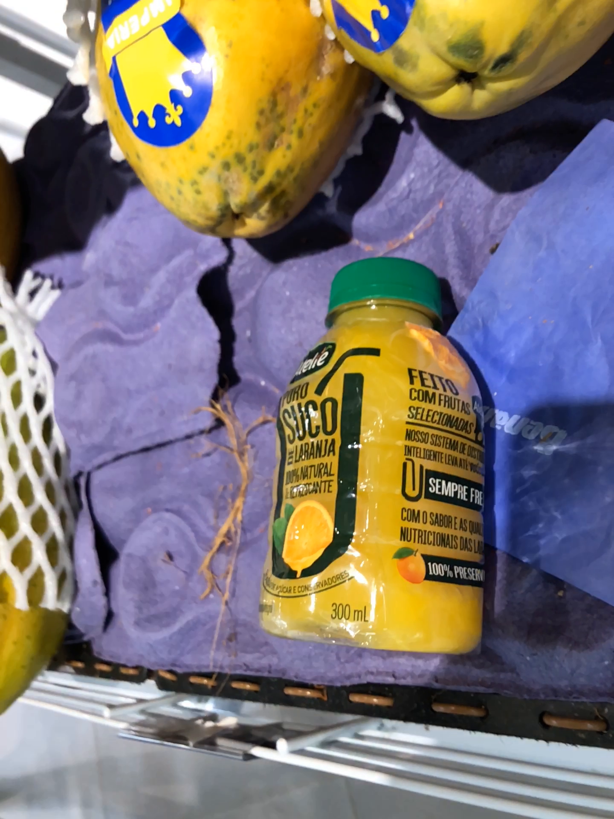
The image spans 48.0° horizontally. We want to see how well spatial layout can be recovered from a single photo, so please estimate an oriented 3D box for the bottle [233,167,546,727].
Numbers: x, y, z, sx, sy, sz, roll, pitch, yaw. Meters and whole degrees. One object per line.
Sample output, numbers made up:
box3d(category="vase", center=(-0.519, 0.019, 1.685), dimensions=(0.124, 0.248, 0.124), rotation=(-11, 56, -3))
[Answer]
box3d(category="bottle", center=(0.026, 0.012, 0.217), dimensions=(0.070, 0.060, 0.140), rotation=(-8, 75, 46))
